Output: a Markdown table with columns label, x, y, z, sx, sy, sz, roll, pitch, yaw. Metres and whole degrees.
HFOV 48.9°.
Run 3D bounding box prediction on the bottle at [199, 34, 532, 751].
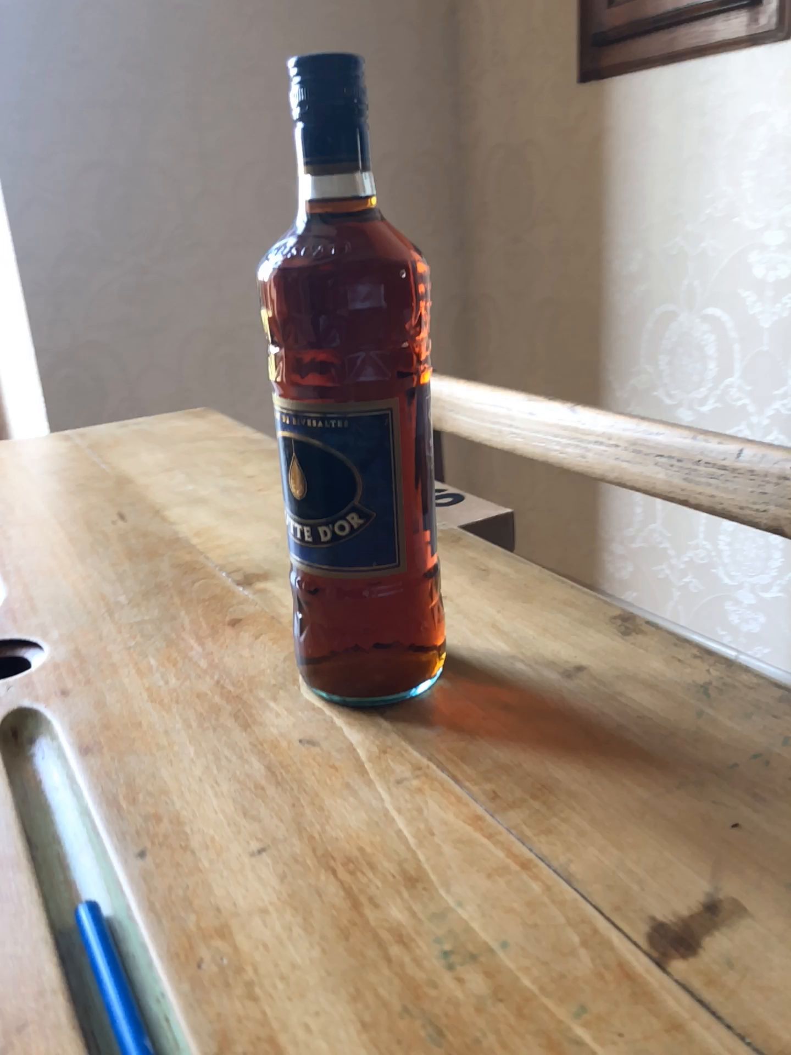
| label | x | y | z | sx | sy | sz | roll | pitch | yaw |
| --- | --- | --- | --- | --- | --- | --- | --- | --- | --- |
| bottle | -0.008 | -0.056 | 0.397 | 0.100 | 0.279 | 0.090 | -14 | 22 | -28 |
